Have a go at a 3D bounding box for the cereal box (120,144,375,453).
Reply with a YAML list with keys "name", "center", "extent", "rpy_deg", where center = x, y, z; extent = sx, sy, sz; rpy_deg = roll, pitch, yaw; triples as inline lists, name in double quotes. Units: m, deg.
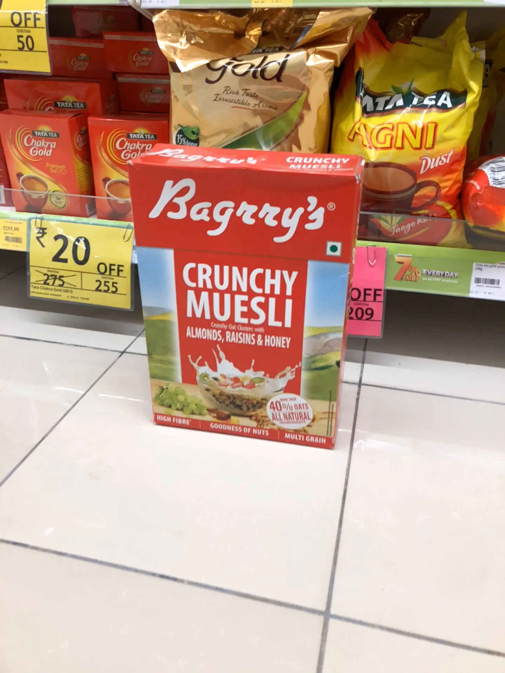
- name: "cereal box"
  center: [-0.001, -0.031, 0.520]
  extent: [0.200, 0.268, 0.070]
  rpy_deg: [6, 30, 11]
